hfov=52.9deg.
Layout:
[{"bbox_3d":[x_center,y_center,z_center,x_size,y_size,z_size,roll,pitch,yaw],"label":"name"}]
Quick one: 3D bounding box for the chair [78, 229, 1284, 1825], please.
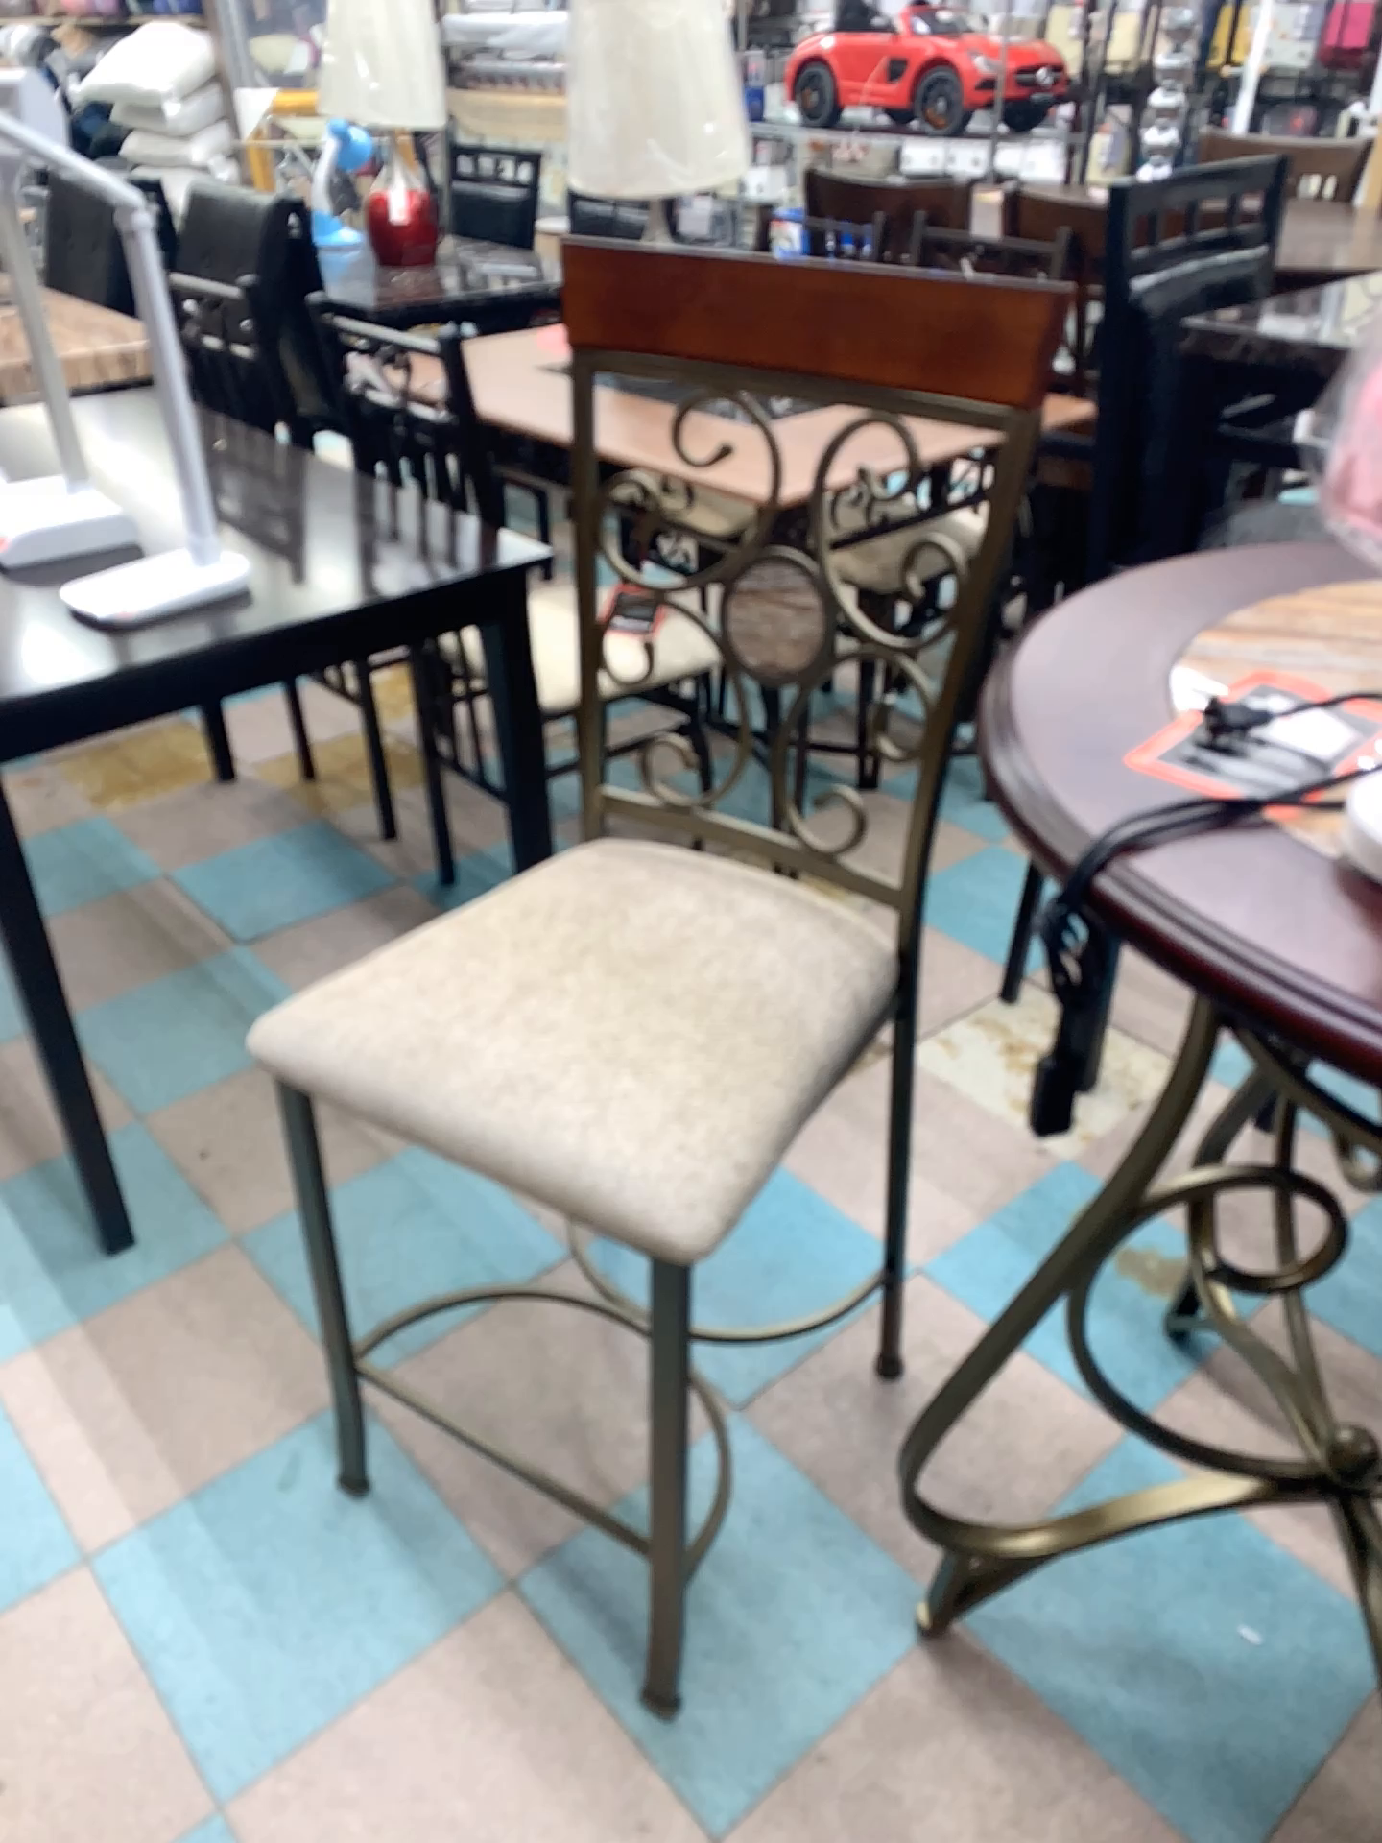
[{"bbox_3d":[0.018,0.072,1.149,0.511,1.074,0.562,22,39,30],"label":"chair"}]
